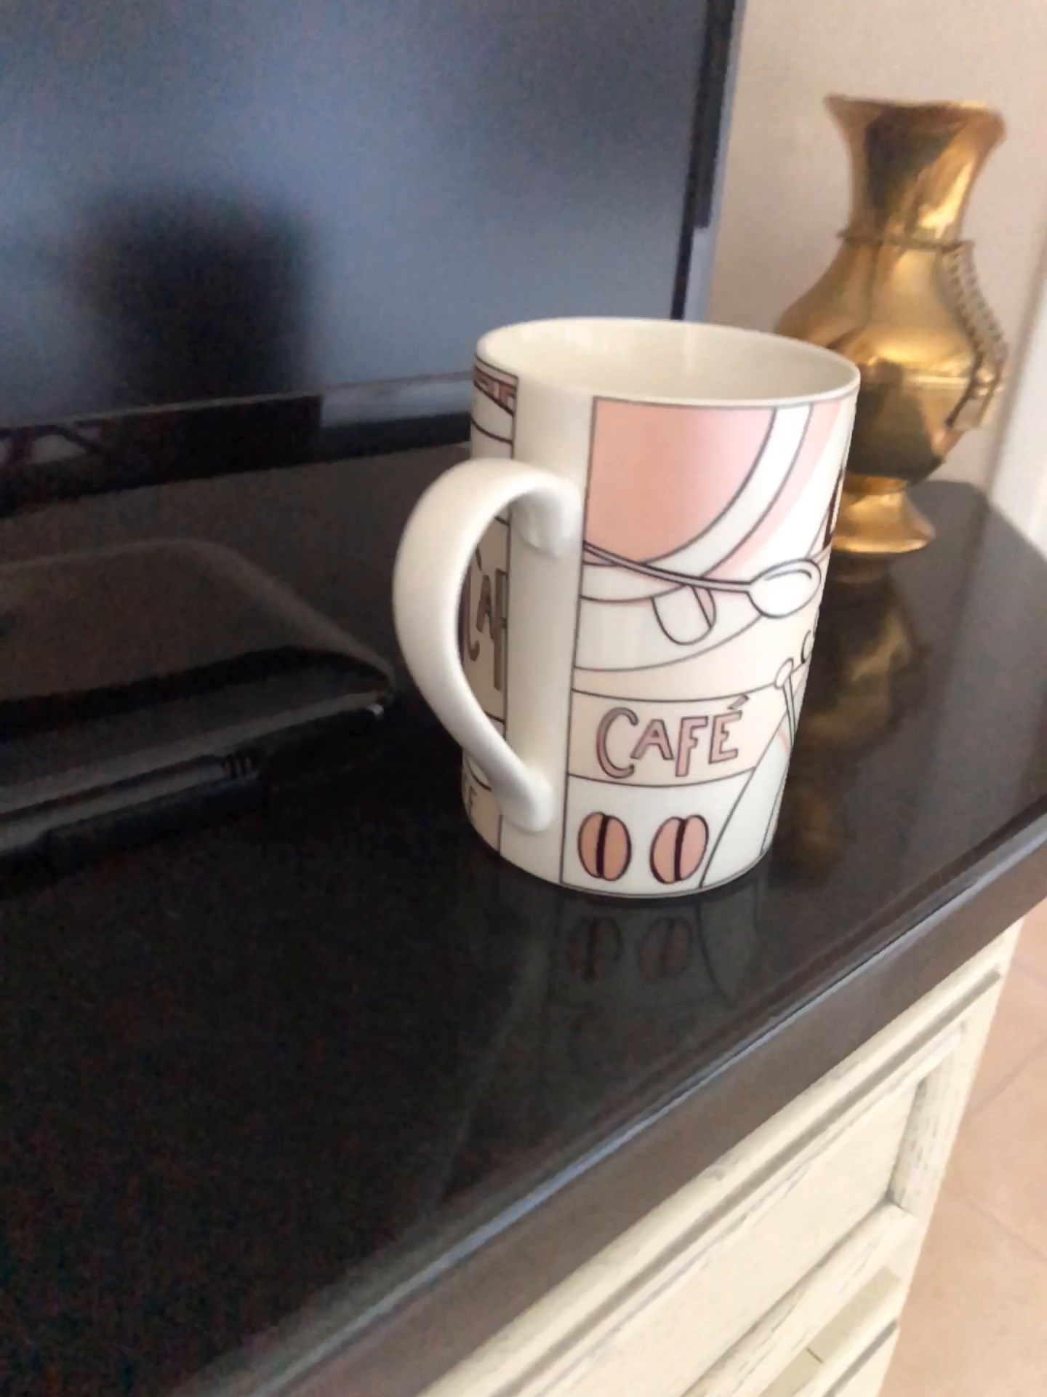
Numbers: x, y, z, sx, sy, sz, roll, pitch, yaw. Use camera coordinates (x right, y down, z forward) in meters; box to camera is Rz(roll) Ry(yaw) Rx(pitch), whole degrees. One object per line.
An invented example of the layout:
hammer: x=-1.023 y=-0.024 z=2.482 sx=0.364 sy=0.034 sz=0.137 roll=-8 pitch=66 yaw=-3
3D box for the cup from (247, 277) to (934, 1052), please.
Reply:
cup: x=0.014 y=-0.018 z=0.232 sx=0.070 sy=0.109 sz=0.111 roll=24 pitch=34 yaw=33
